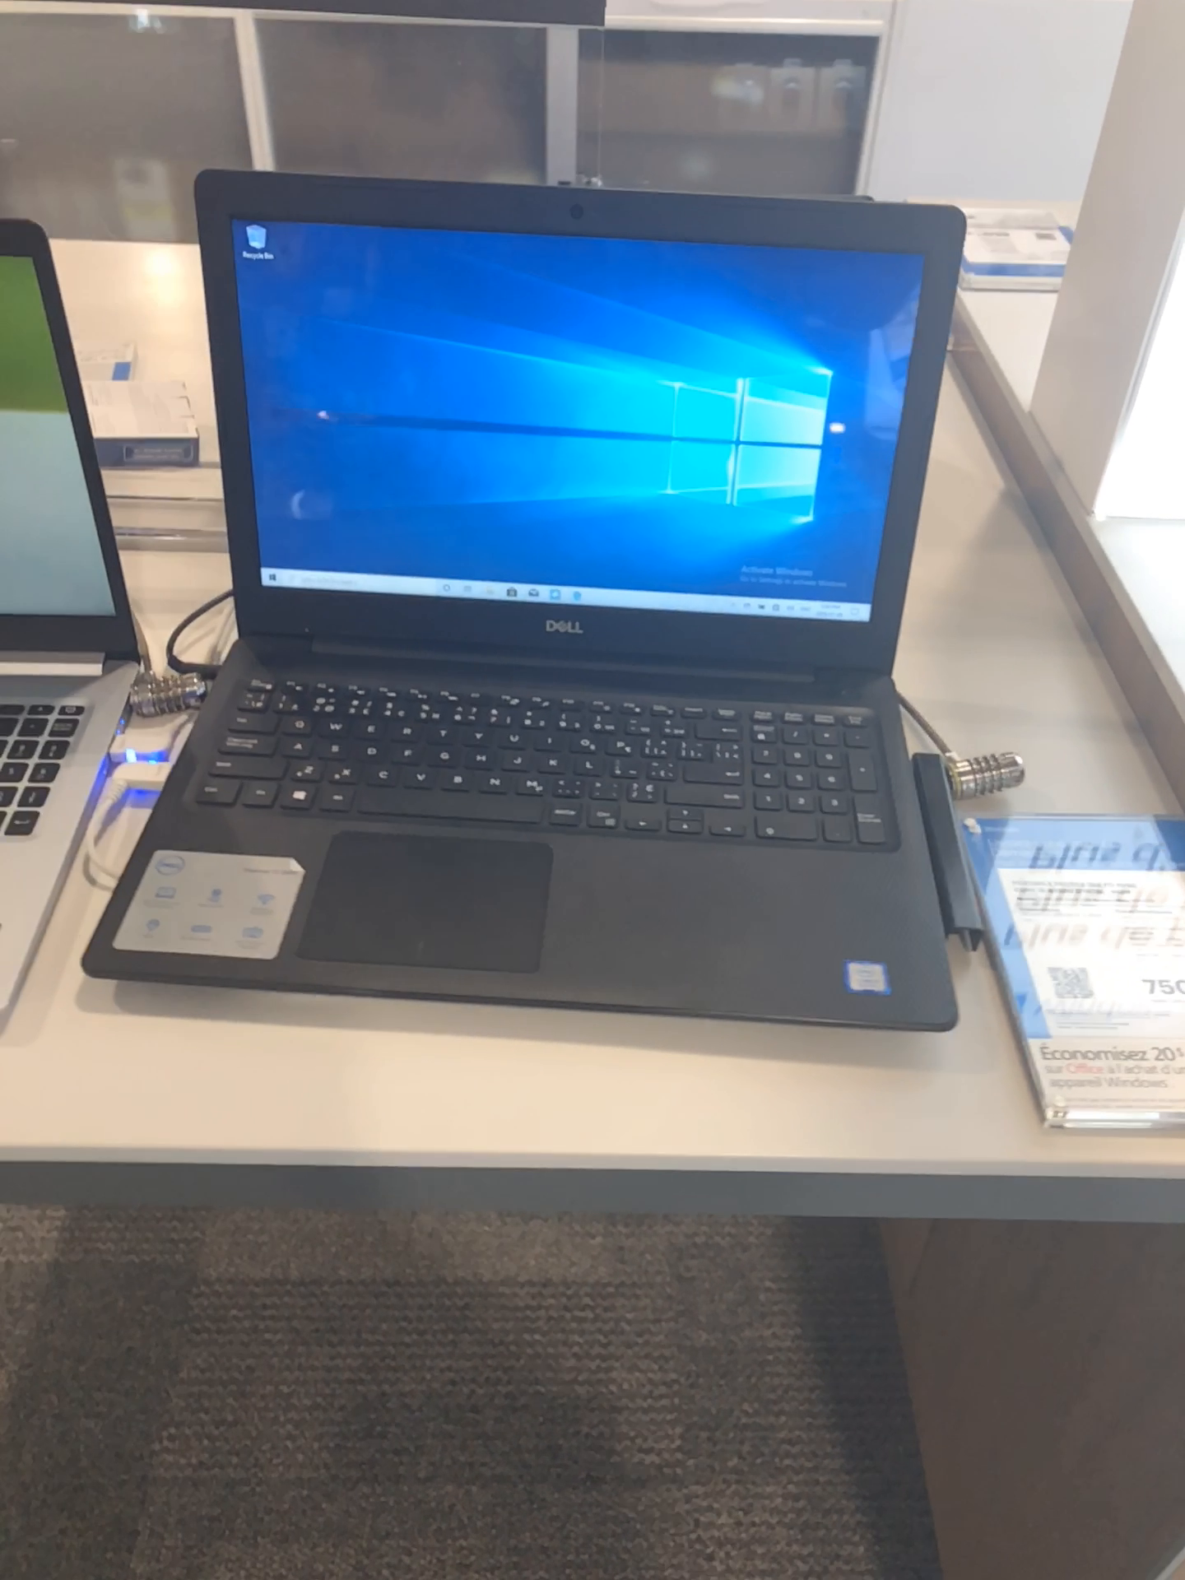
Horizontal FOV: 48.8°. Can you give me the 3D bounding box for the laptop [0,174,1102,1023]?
[{"bbox_3d":[-0.023,-0.103,0.597,0.368,0.230,0.311,3,41,1],"label":"laptop"}]
